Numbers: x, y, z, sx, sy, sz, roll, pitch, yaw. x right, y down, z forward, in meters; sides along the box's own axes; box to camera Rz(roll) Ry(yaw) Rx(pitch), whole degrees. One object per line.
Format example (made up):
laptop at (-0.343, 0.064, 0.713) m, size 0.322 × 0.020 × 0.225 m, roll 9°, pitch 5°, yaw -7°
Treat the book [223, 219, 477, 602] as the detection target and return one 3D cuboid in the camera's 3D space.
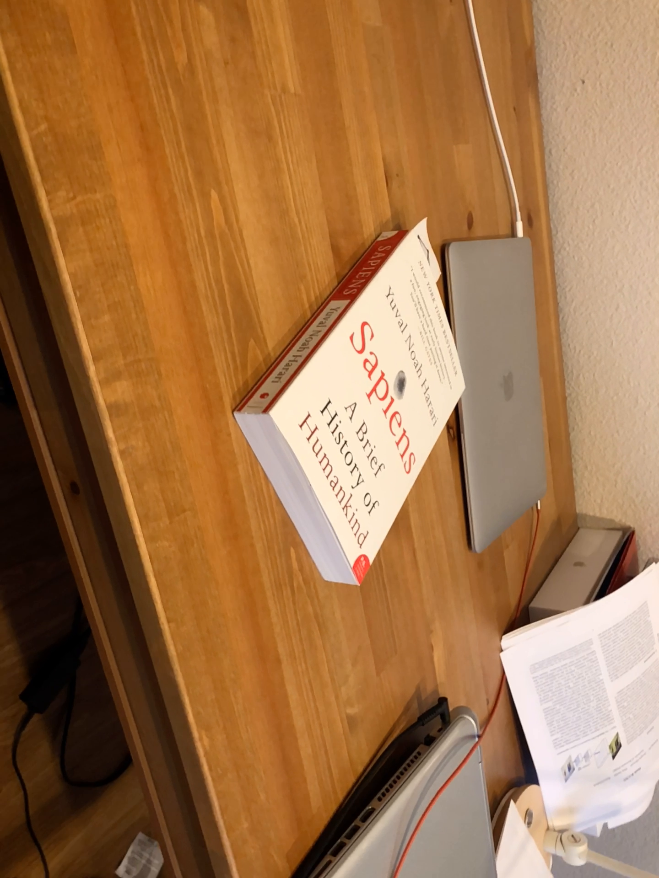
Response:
book at (0.035, -0.030, 0.563) m, size 0.251 × 0.040 × 0.171 m, roll -56°, pitch 134°, yaw -39°
